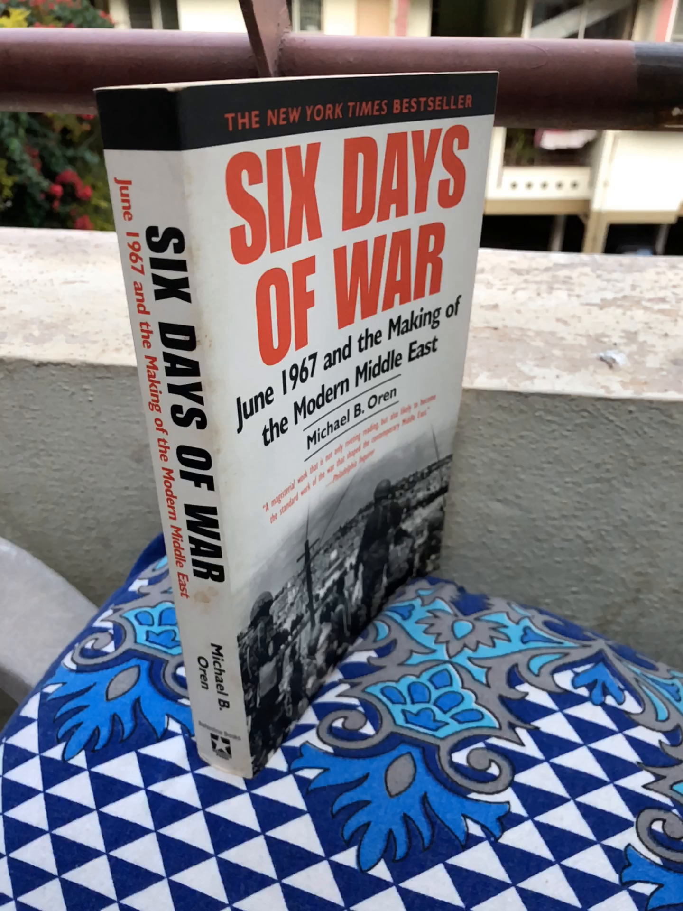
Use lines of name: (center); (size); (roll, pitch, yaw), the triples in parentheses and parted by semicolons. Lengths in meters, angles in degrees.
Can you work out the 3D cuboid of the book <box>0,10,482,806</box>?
book: (-0.008, -0.023, 0.298); (0.050, 0.249, 0.181); (15, 36, 26)
